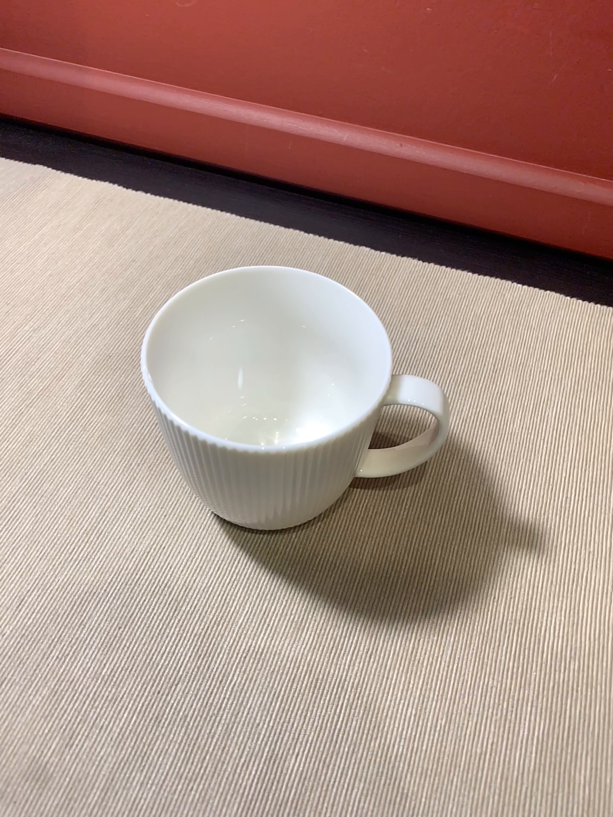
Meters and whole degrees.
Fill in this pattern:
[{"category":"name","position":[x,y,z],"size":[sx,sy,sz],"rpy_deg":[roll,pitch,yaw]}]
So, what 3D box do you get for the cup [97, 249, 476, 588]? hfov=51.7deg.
[{"category":"cup","position":[-0.002,0.001,0.239],"size":[0.110,0.060,0.090],"rpy_deg":[12,51,7]}]
